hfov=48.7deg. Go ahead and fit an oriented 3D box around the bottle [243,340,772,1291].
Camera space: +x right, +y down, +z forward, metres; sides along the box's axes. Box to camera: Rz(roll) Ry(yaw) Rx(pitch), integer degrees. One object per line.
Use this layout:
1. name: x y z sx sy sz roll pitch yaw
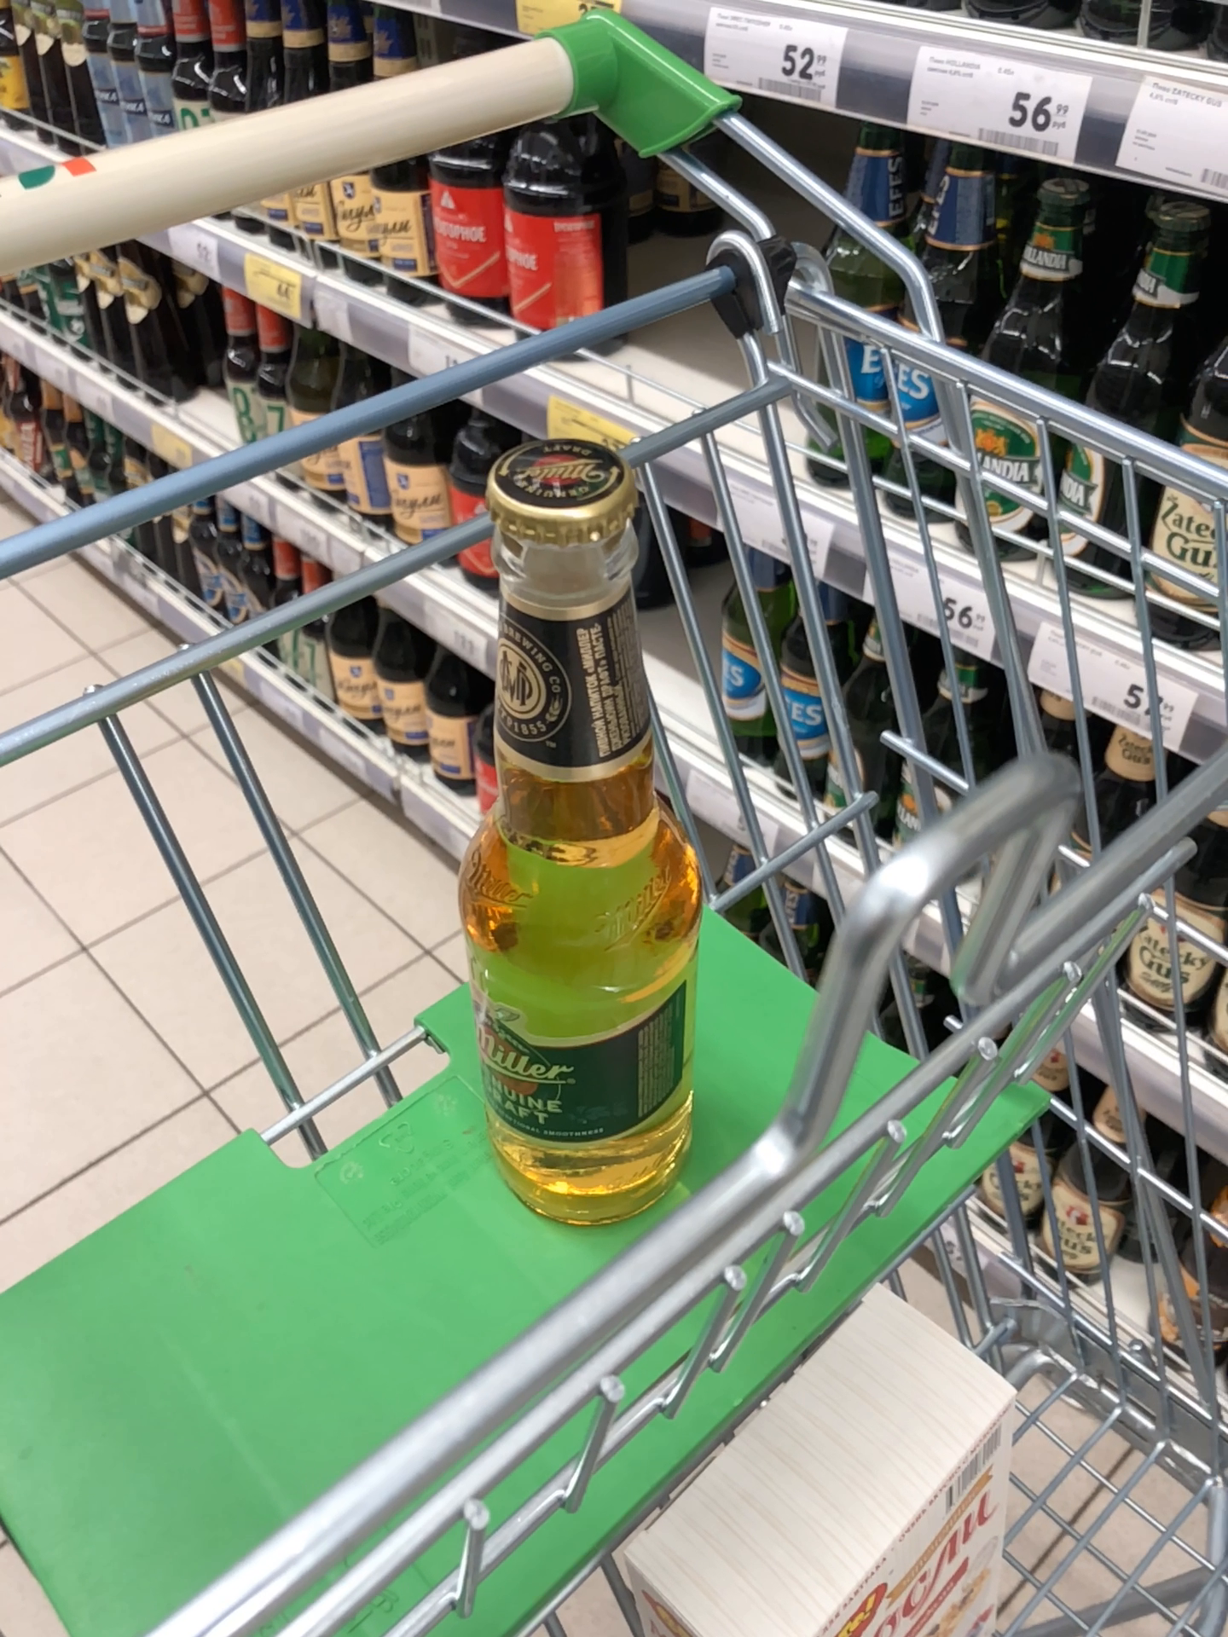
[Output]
1. bottle: -0.017 0.010 0.318 0.070 0.209 0.070 -2 41 1
